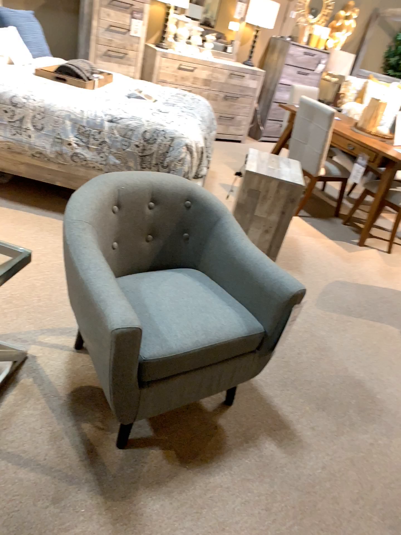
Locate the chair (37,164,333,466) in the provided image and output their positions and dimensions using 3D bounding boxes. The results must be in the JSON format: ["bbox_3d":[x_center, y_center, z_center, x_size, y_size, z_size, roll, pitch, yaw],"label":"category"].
[{"bbox_3d":[-0.141,0.093,1.566,0.748,0.701,0.744,-7,38,-32],"label":"chair"}]
